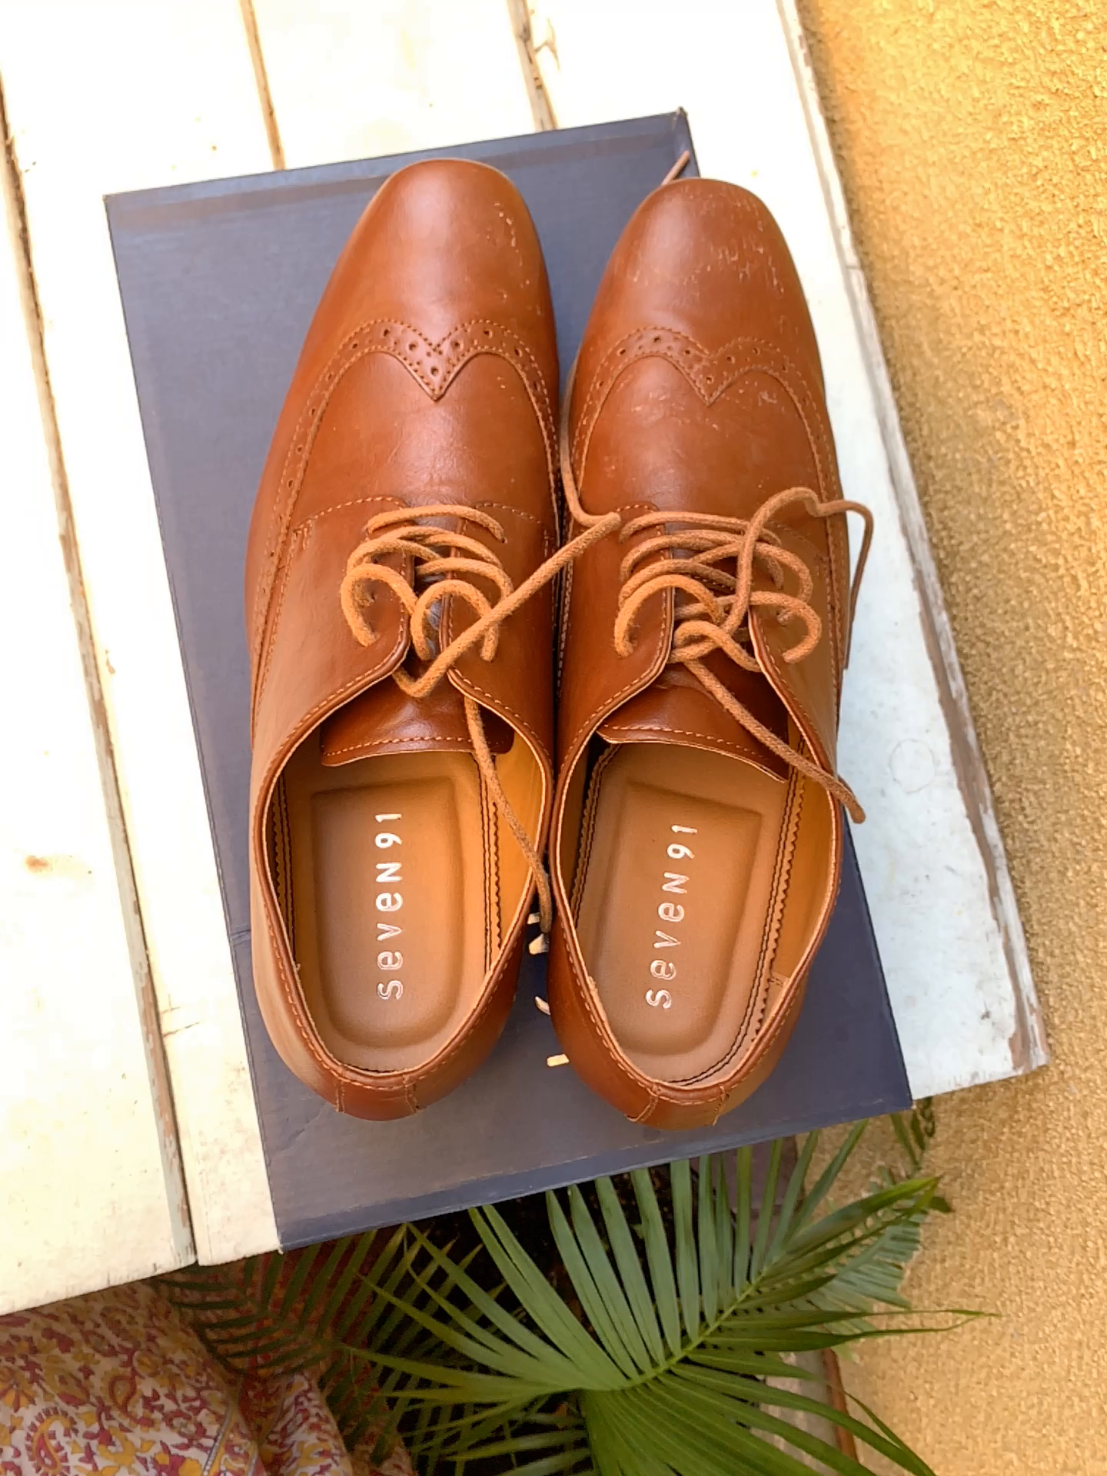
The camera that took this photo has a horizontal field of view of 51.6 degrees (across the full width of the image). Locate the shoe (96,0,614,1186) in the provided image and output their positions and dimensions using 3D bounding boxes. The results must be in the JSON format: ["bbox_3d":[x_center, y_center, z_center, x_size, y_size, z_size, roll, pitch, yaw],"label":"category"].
[{"bbox_3d":[-0.048,-0.040,0.337,0.104,0.100,0.300,4,83,-4],"label":"shoe"}]

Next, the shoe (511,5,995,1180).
[{"bbox_3d":[0.054,-0.040,0.343,0.110,0.100,0.300,4,83,-4],"label":"shoe"}]
